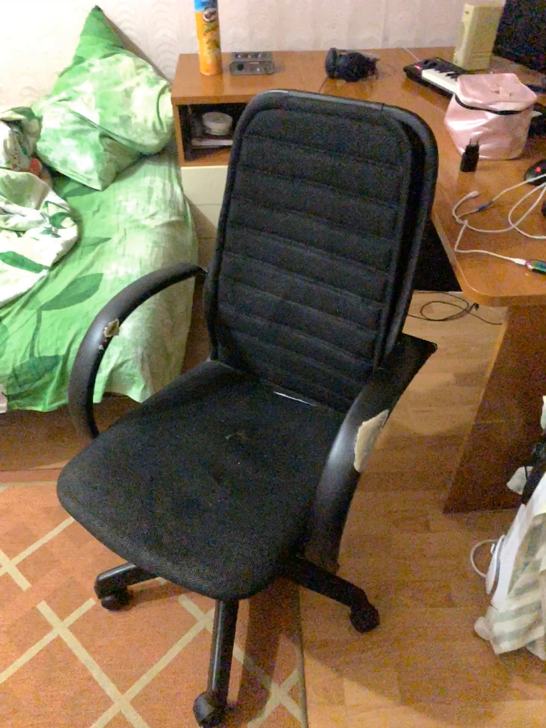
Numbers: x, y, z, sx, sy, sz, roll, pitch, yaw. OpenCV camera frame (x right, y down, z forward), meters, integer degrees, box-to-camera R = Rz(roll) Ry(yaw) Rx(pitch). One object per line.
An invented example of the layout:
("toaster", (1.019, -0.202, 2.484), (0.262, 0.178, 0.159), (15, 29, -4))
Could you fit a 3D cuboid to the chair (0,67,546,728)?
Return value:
("chair", (-0.064, 0.124, 1.050), (0.671, 0.991, 0.725), (21, 47, 22))
